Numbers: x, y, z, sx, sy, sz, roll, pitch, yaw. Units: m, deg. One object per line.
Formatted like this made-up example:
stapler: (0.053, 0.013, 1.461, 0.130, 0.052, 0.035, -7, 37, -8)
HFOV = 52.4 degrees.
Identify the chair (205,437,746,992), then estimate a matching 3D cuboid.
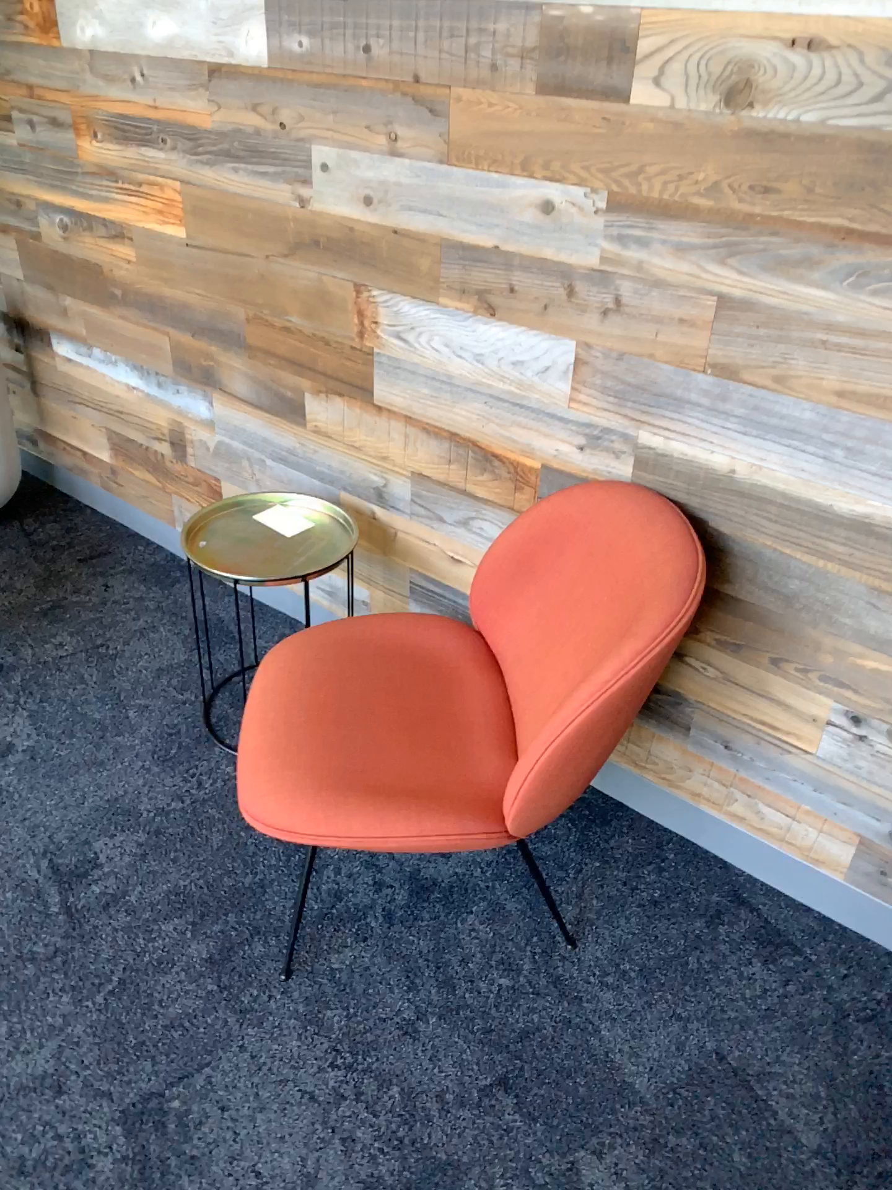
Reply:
chair: (0.006, 0.190, 1.619, 0.710, 0.756, 0.573, -2, 33, -6)
